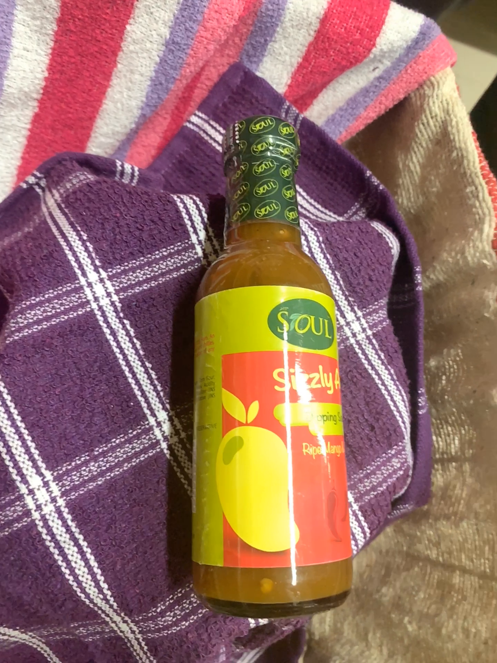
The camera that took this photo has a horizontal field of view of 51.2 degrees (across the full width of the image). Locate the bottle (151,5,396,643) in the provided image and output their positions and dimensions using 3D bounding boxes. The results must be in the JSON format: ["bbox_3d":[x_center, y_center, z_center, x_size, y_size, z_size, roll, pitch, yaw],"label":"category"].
[{"bbox_3d":[0.002,-0.009,0.193,0.060,0.060,0.200,4,73,-19],"label":"bottle"}]
